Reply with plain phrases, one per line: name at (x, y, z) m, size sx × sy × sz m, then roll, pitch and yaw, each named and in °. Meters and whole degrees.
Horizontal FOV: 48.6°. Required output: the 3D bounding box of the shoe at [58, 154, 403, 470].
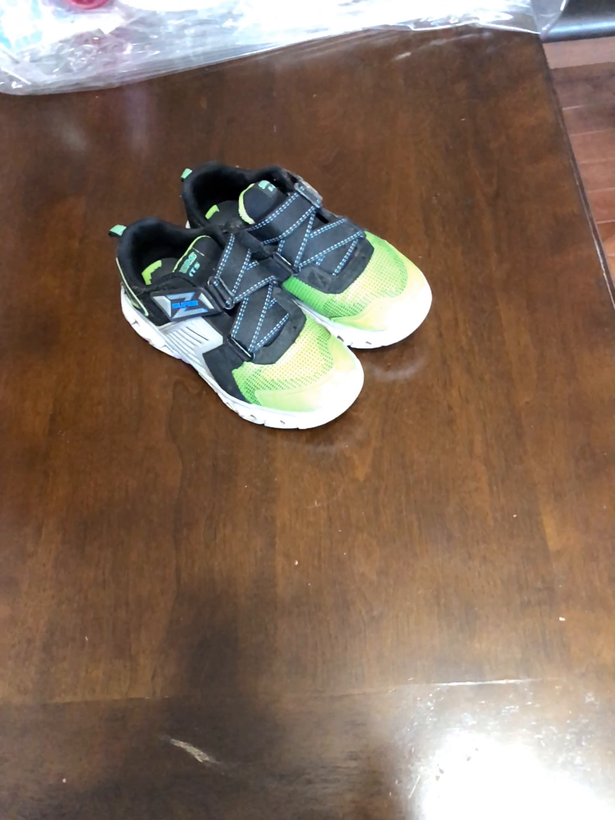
shoe at (-0.049, -0.071, 0.478) m, size 0.210 × 0.100 × 0.100 m, roll 33°, pitch 72°, yaw 22°

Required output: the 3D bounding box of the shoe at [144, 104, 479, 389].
shoe at (0.004, -0.124, 0.507) m, size 0.210 × 0.100 × 0.100 m, roll 29°, pitch 71°, yaw 21°
